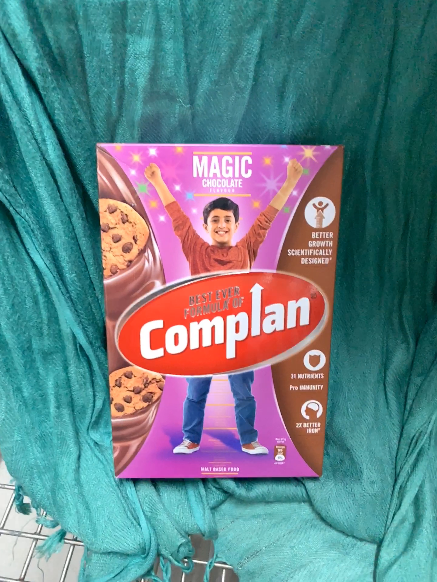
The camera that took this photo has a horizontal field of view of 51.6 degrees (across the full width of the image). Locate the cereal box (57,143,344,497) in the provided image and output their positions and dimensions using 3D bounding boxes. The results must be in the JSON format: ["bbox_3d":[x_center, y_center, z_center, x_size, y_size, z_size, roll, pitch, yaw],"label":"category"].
[{"bbox_3d":[-0.009,0.021,0.298,0.160,0.220,0.050,-1,11,0],"label":"cereal box"}]
